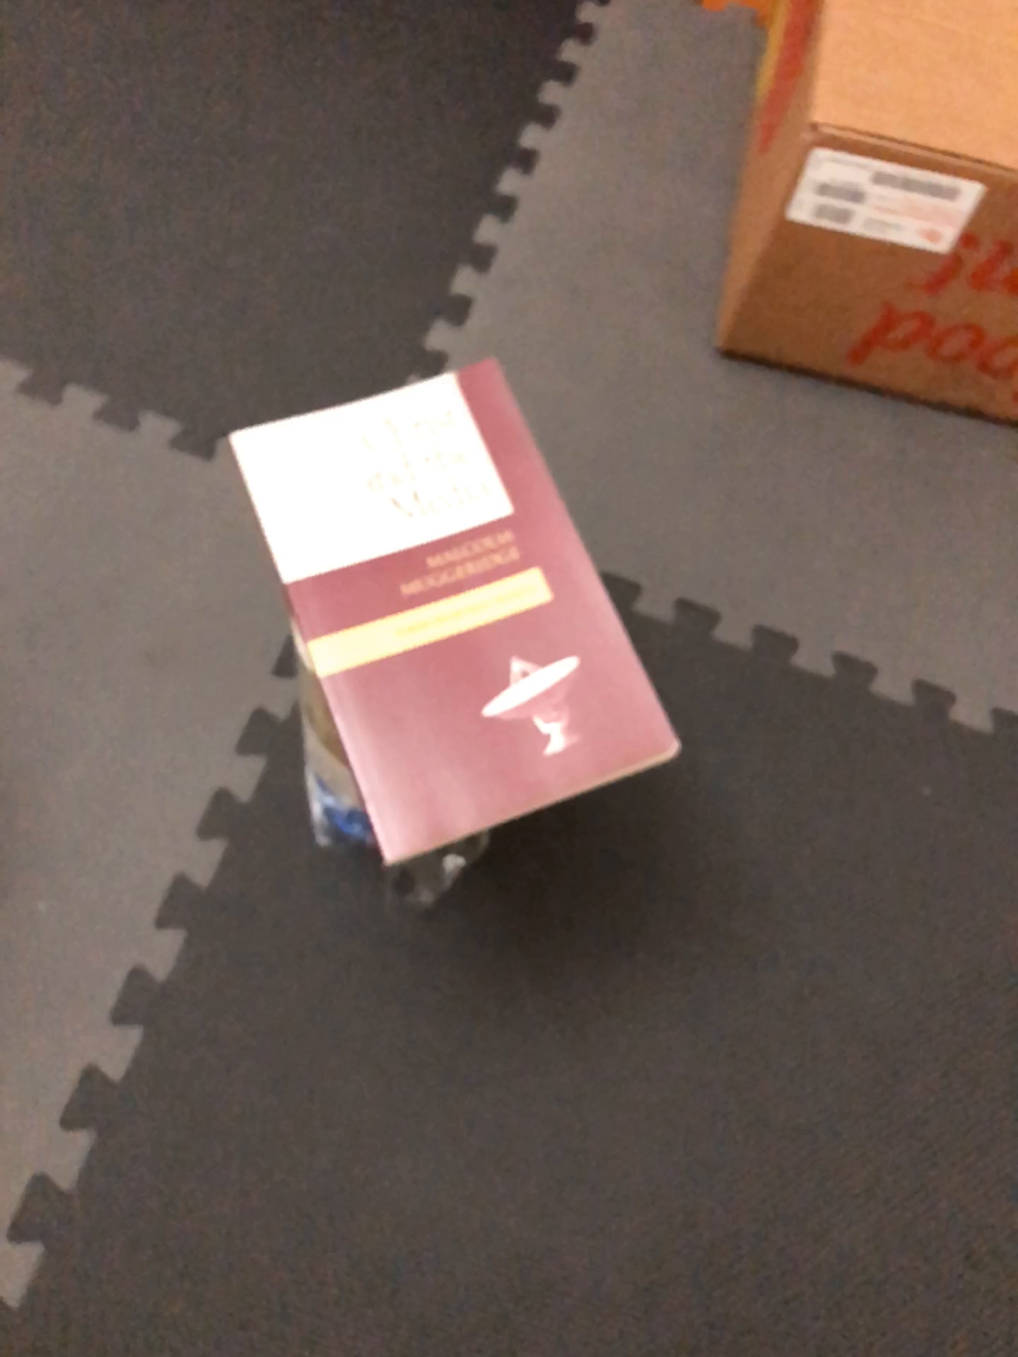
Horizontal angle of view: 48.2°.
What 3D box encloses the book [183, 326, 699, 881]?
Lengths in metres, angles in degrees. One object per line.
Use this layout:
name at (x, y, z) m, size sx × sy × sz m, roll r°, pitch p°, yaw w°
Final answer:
book at (-0.032, -0.041, 0.472) m, size 0.140 × 0.020 × 0.210 m, roll -20°, pitch 72°, yaw -15°
